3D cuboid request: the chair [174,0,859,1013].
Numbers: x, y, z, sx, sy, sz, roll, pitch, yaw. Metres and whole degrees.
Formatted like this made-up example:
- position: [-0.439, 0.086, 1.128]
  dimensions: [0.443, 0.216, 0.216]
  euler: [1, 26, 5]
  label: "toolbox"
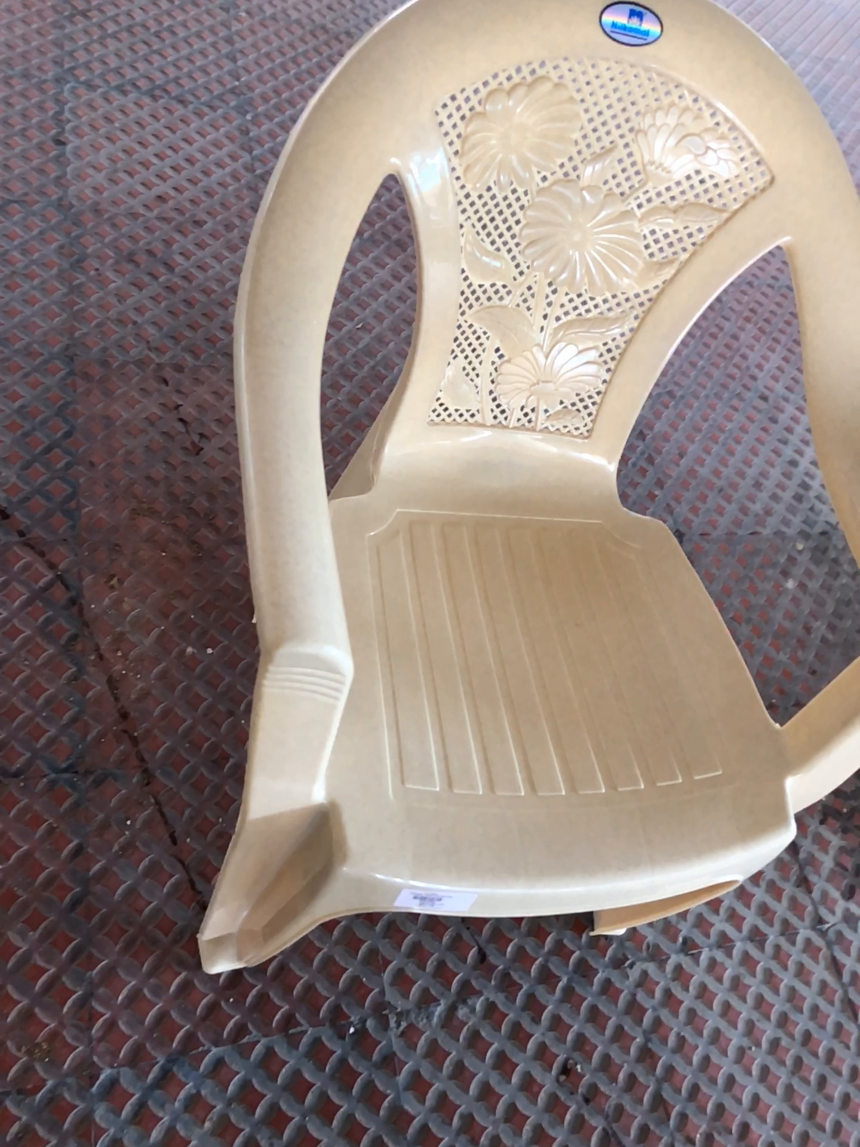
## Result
- position: [0.077, -0.011, 0.869]
  dimensions: [0.531, 0.805, 0.612]
  euler: [2, 59, -20]
  label: "chair"
